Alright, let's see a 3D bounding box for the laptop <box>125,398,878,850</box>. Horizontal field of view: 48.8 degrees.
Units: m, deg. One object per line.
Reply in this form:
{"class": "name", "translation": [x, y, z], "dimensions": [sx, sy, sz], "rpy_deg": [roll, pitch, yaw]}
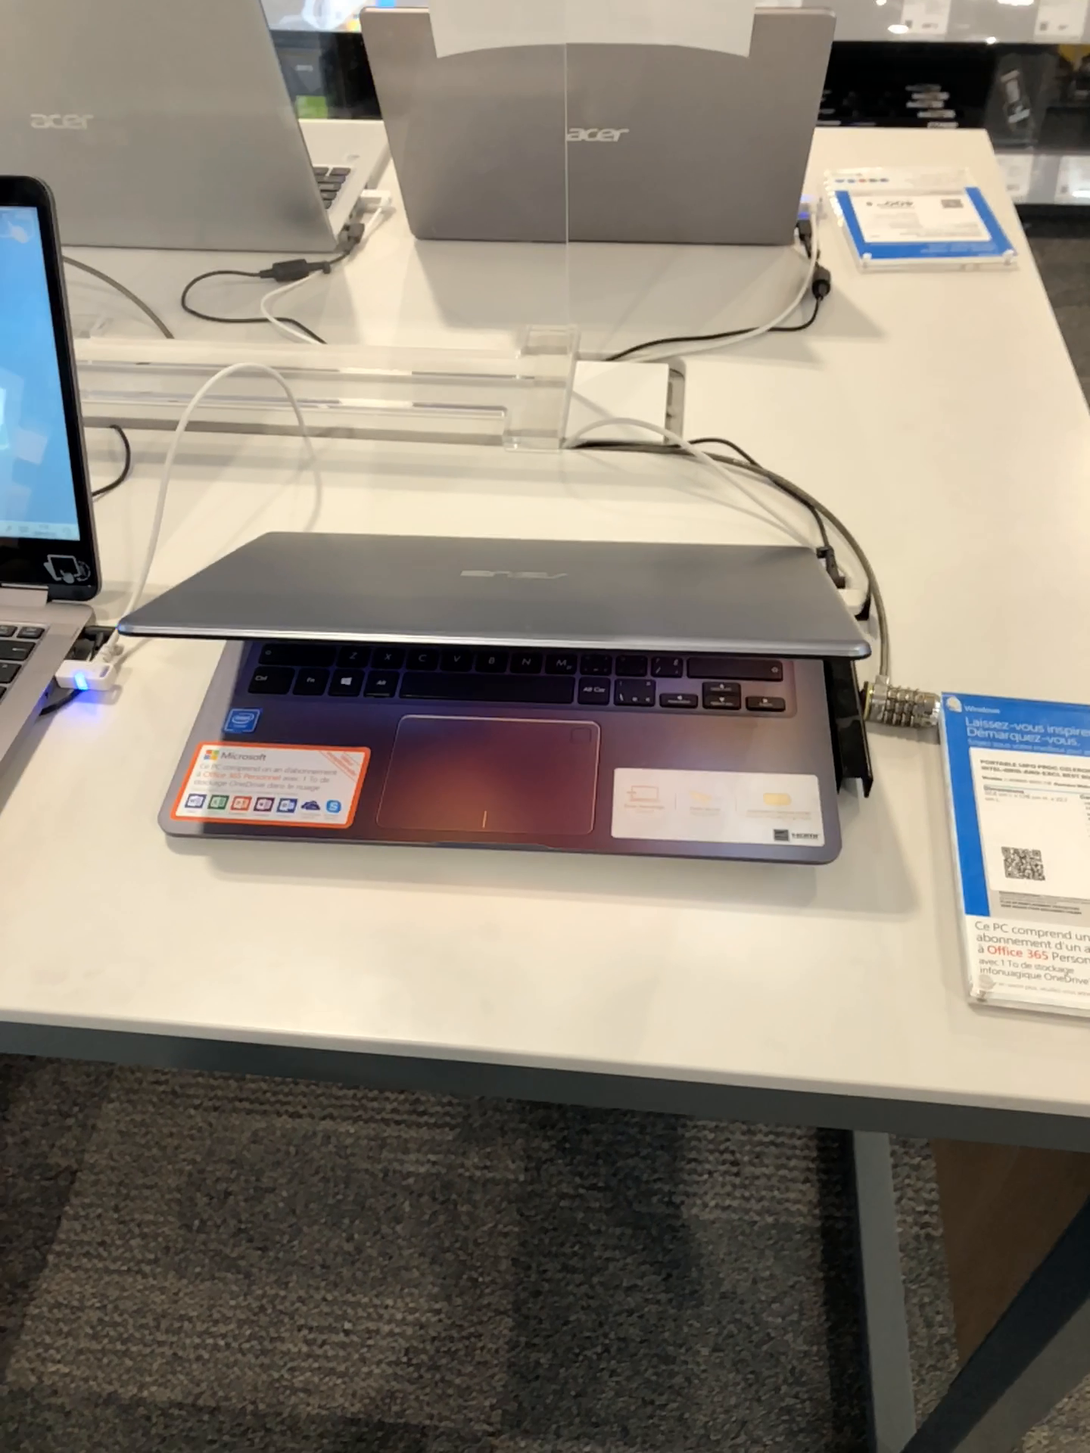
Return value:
{"class": "laptop", "translation": [-0.012, -0.058, 0.581], "dimensions": [0.300, 0.099, 0.202], "rpy_deg": [2, 47, 3]}
